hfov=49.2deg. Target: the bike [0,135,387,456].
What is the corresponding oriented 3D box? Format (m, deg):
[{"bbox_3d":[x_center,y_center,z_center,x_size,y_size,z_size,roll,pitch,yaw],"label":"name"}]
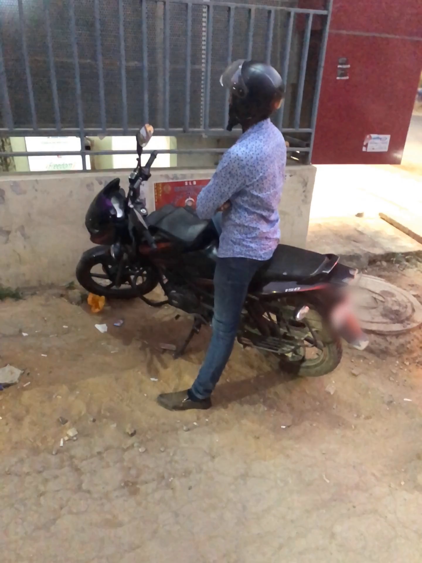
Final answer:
[{"bbox_3d":[-0.142,-0.061,2.581,1.802,1.144,0.750,16,28,24],"label":"bike"}]
